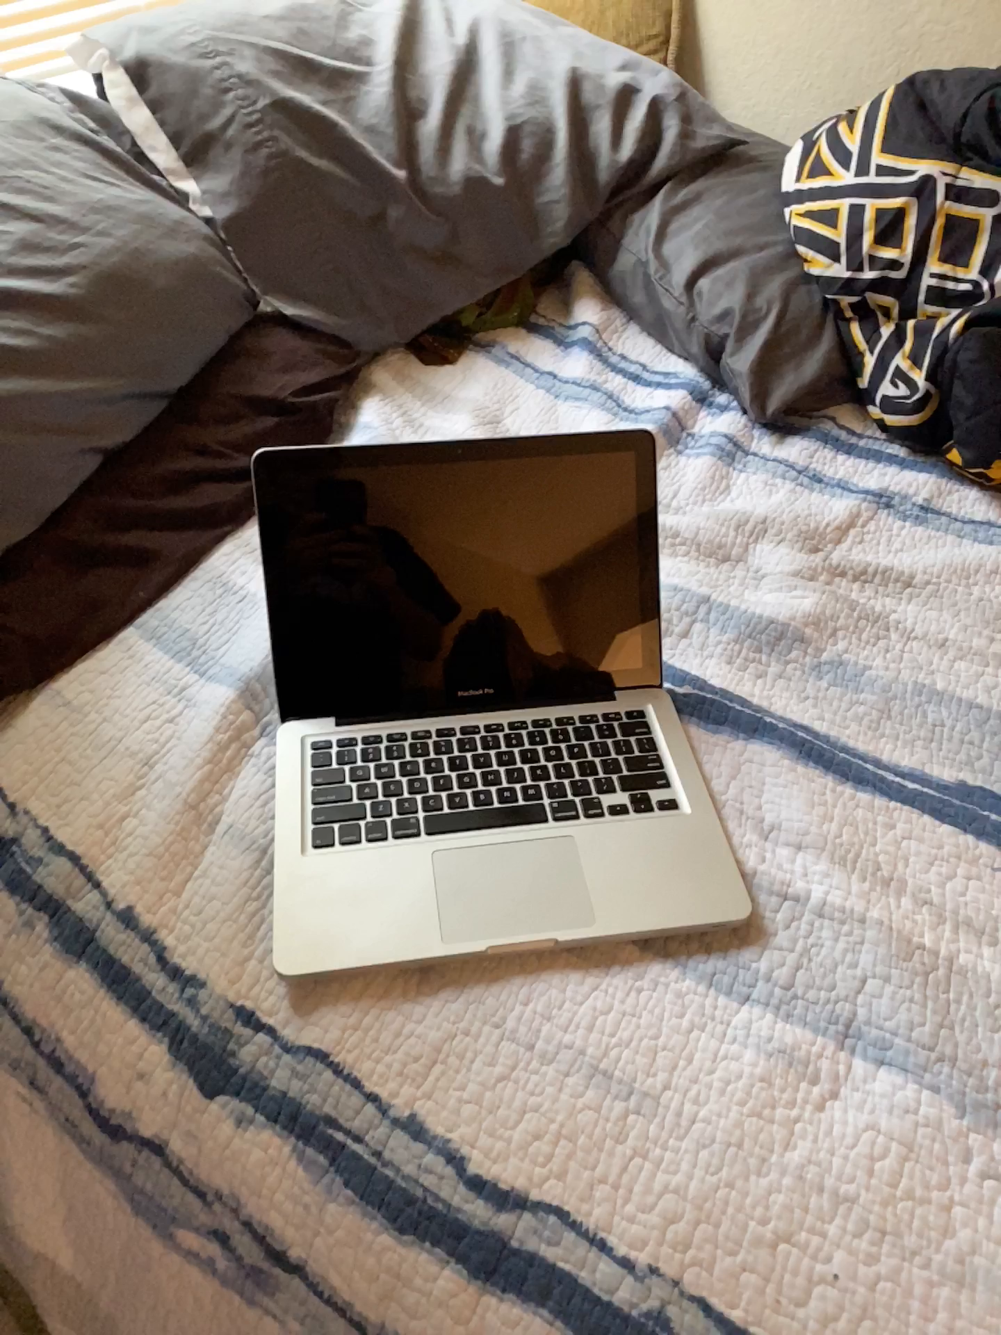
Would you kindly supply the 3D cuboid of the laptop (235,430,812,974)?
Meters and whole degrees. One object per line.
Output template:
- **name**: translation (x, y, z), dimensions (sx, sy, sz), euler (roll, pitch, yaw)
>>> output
- **laptop**: translation (-0.011, 0.002, 0.734), dimensions (0.320, 0.165, 0.347), euler (-5, 45, -8)
